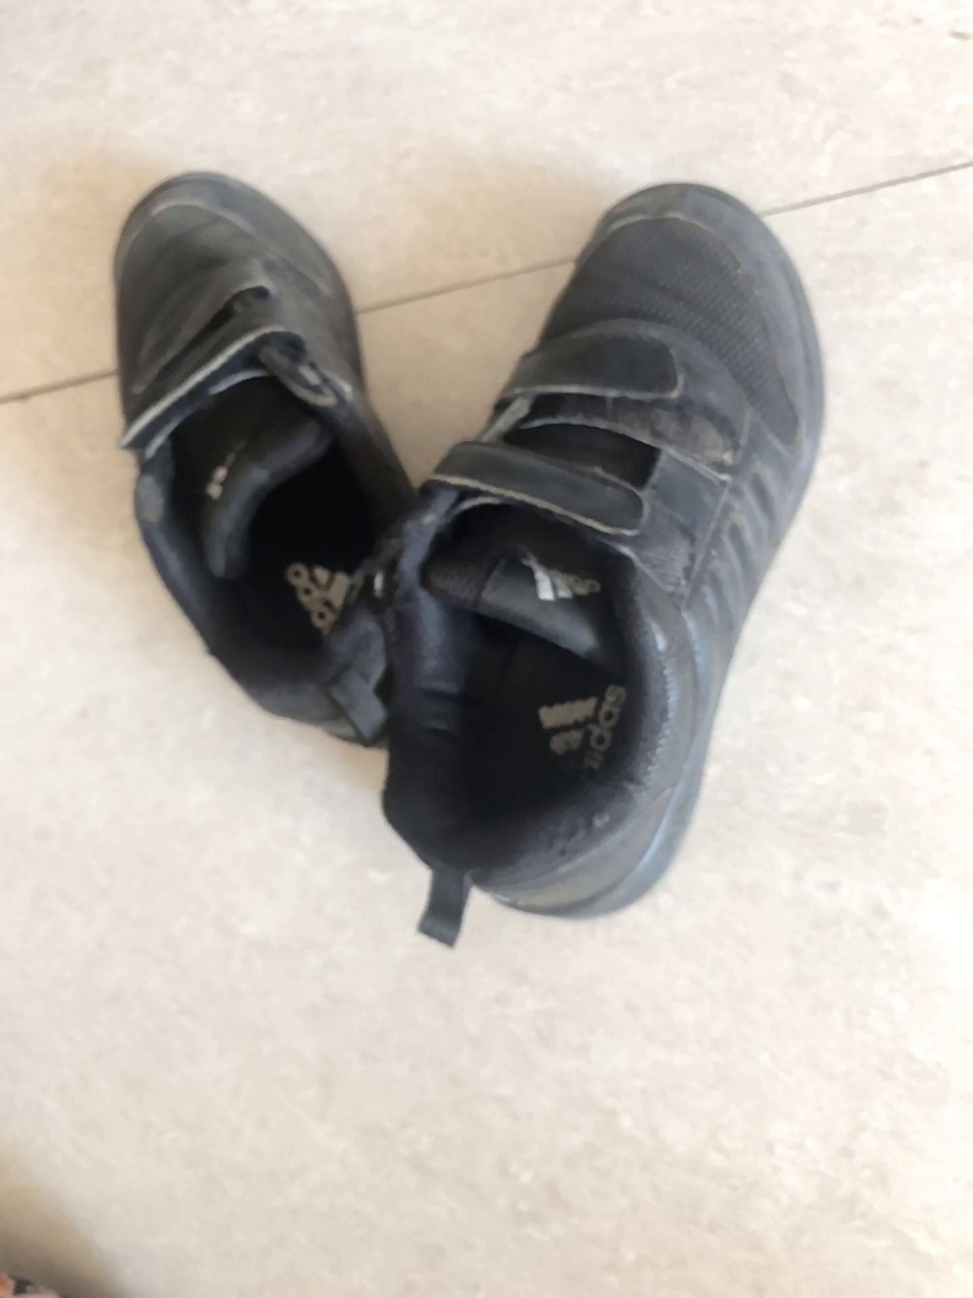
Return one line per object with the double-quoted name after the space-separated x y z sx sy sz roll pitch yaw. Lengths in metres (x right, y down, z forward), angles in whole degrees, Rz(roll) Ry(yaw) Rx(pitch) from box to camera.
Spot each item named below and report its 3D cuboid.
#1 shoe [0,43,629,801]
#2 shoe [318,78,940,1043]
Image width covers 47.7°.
-0.058 -0.065 0.345 0.100 0.080 0.200 -35 72 13 "shoe"
0.048 -0.025 0.310 0.100 0.100 0.220 13 87 22 "shoe"
